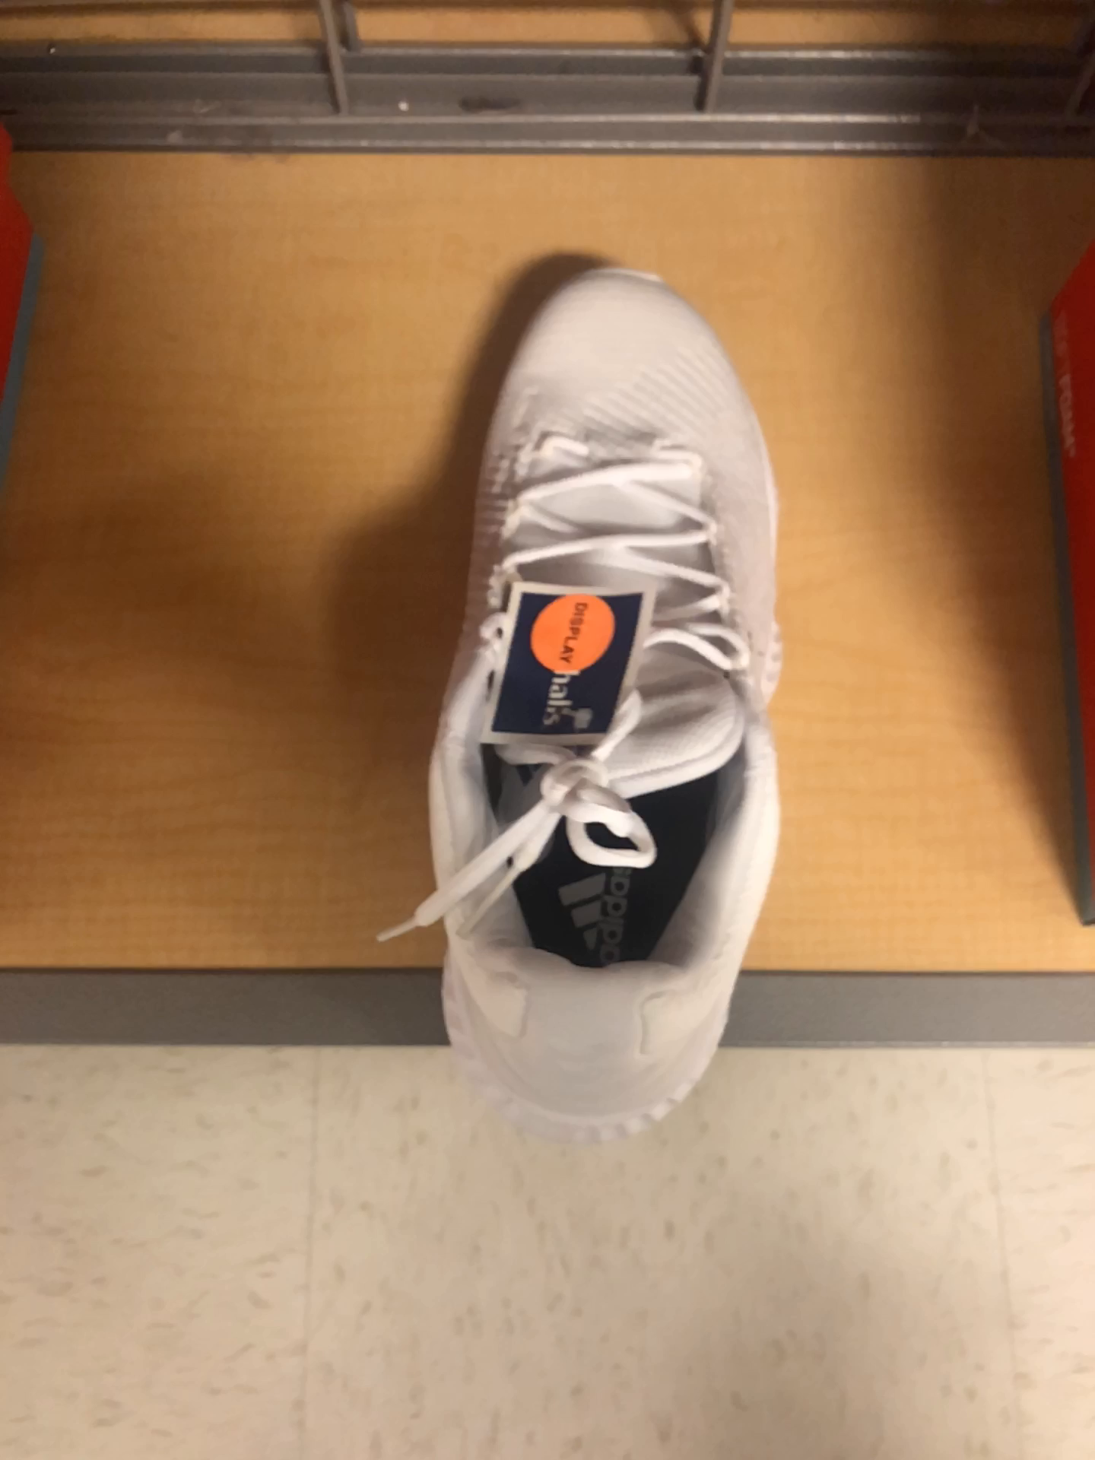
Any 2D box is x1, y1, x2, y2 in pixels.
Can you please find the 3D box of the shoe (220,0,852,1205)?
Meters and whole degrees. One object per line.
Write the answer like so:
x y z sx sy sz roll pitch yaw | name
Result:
0.009 -0.045 0.383 0.120 0.150 0.336 7 74 2 | shoe
